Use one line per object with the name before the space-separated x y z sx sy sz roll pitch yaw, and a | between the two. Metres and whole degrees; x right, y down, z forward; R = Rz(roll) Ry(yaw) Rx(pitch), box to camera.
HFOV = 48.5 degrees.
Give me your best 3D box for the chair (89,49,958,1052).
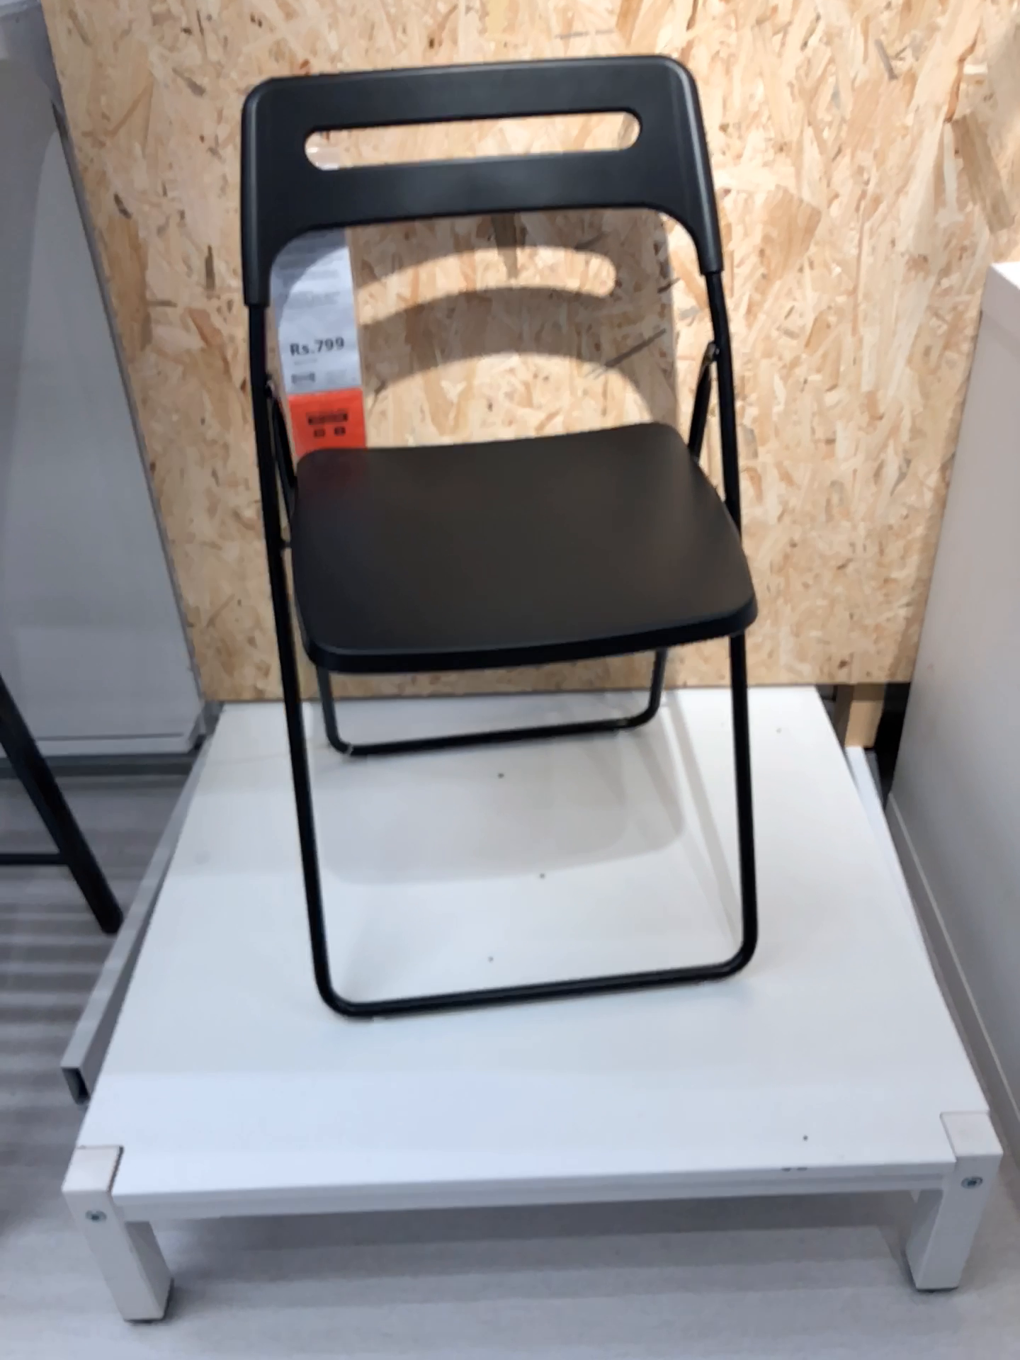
chair | 0.007 -0.129 1.058 0.490 0.735 0.524 -5 34 -2
